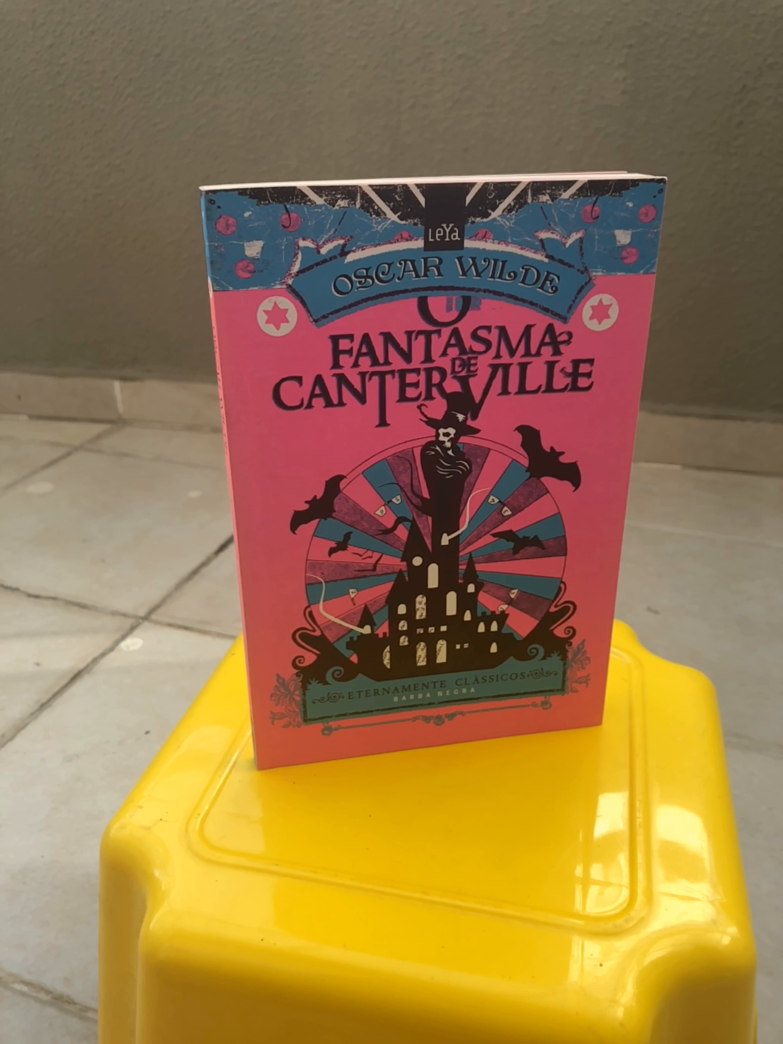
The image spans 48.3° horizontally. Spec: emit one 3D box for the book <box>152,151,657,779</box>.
[{"bbox_3d":[0.008,-0.010,0.311,0.150,0.218,0.020,-6,26,-8],"label":"book"}]
